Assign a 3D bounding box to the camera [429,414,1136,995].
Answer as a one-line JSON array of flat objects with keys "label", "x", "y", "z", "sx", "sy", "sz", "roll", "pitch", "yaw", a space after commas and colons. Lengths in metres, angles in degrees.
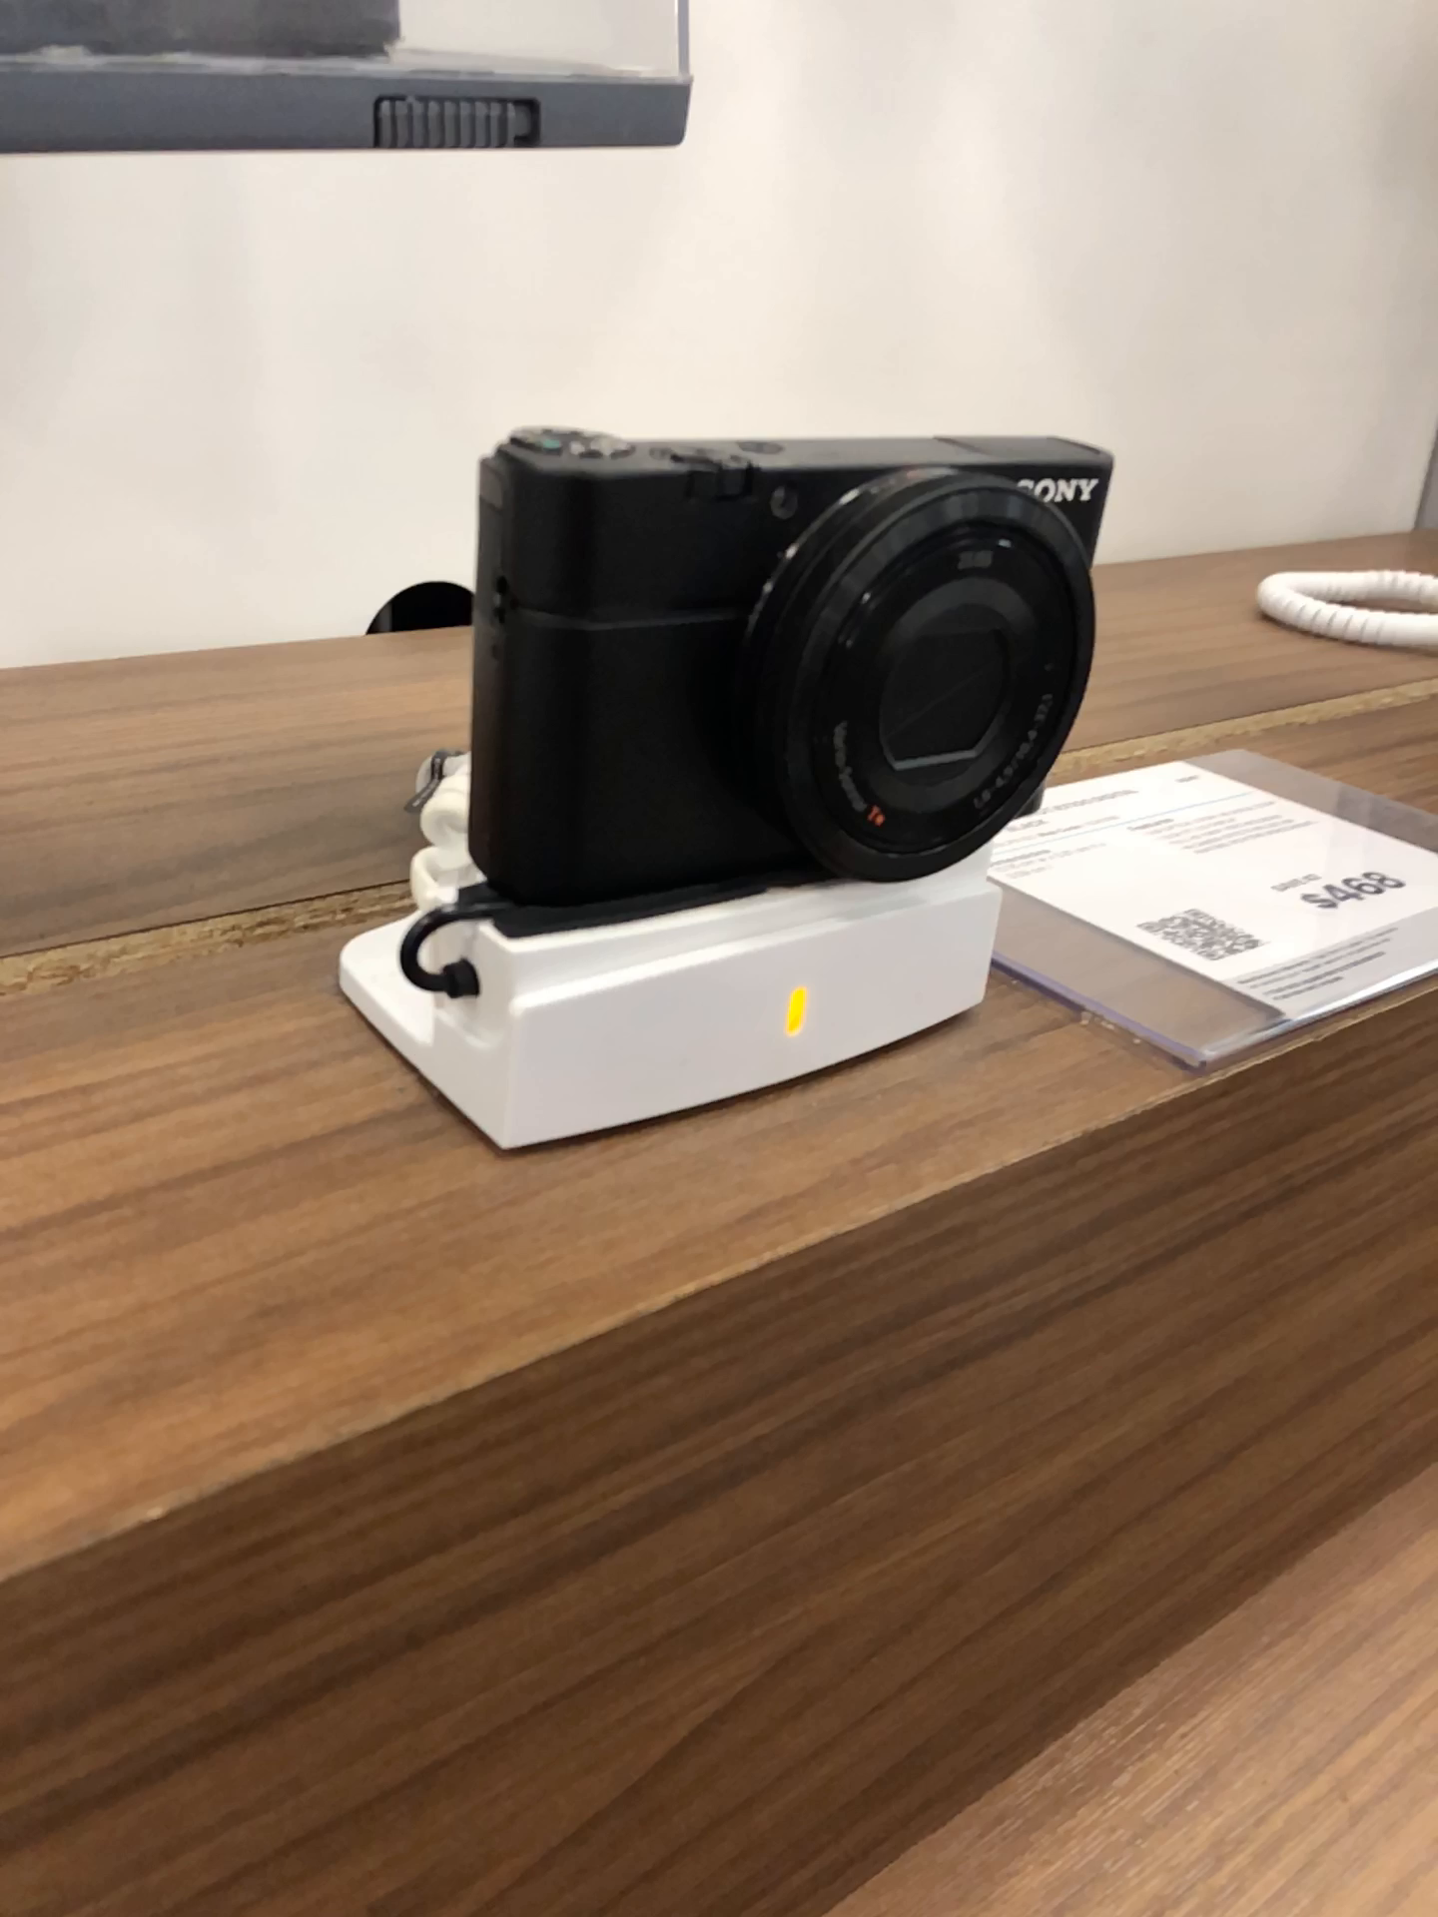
[{"label": "camera", "x": 0.010, "y": -0.042, "z": 0.239, "sx": 0.100, "sy": 0.070, "sz": 0.030, "roll": -13, "pitch": 34, "yaw": -34}]
